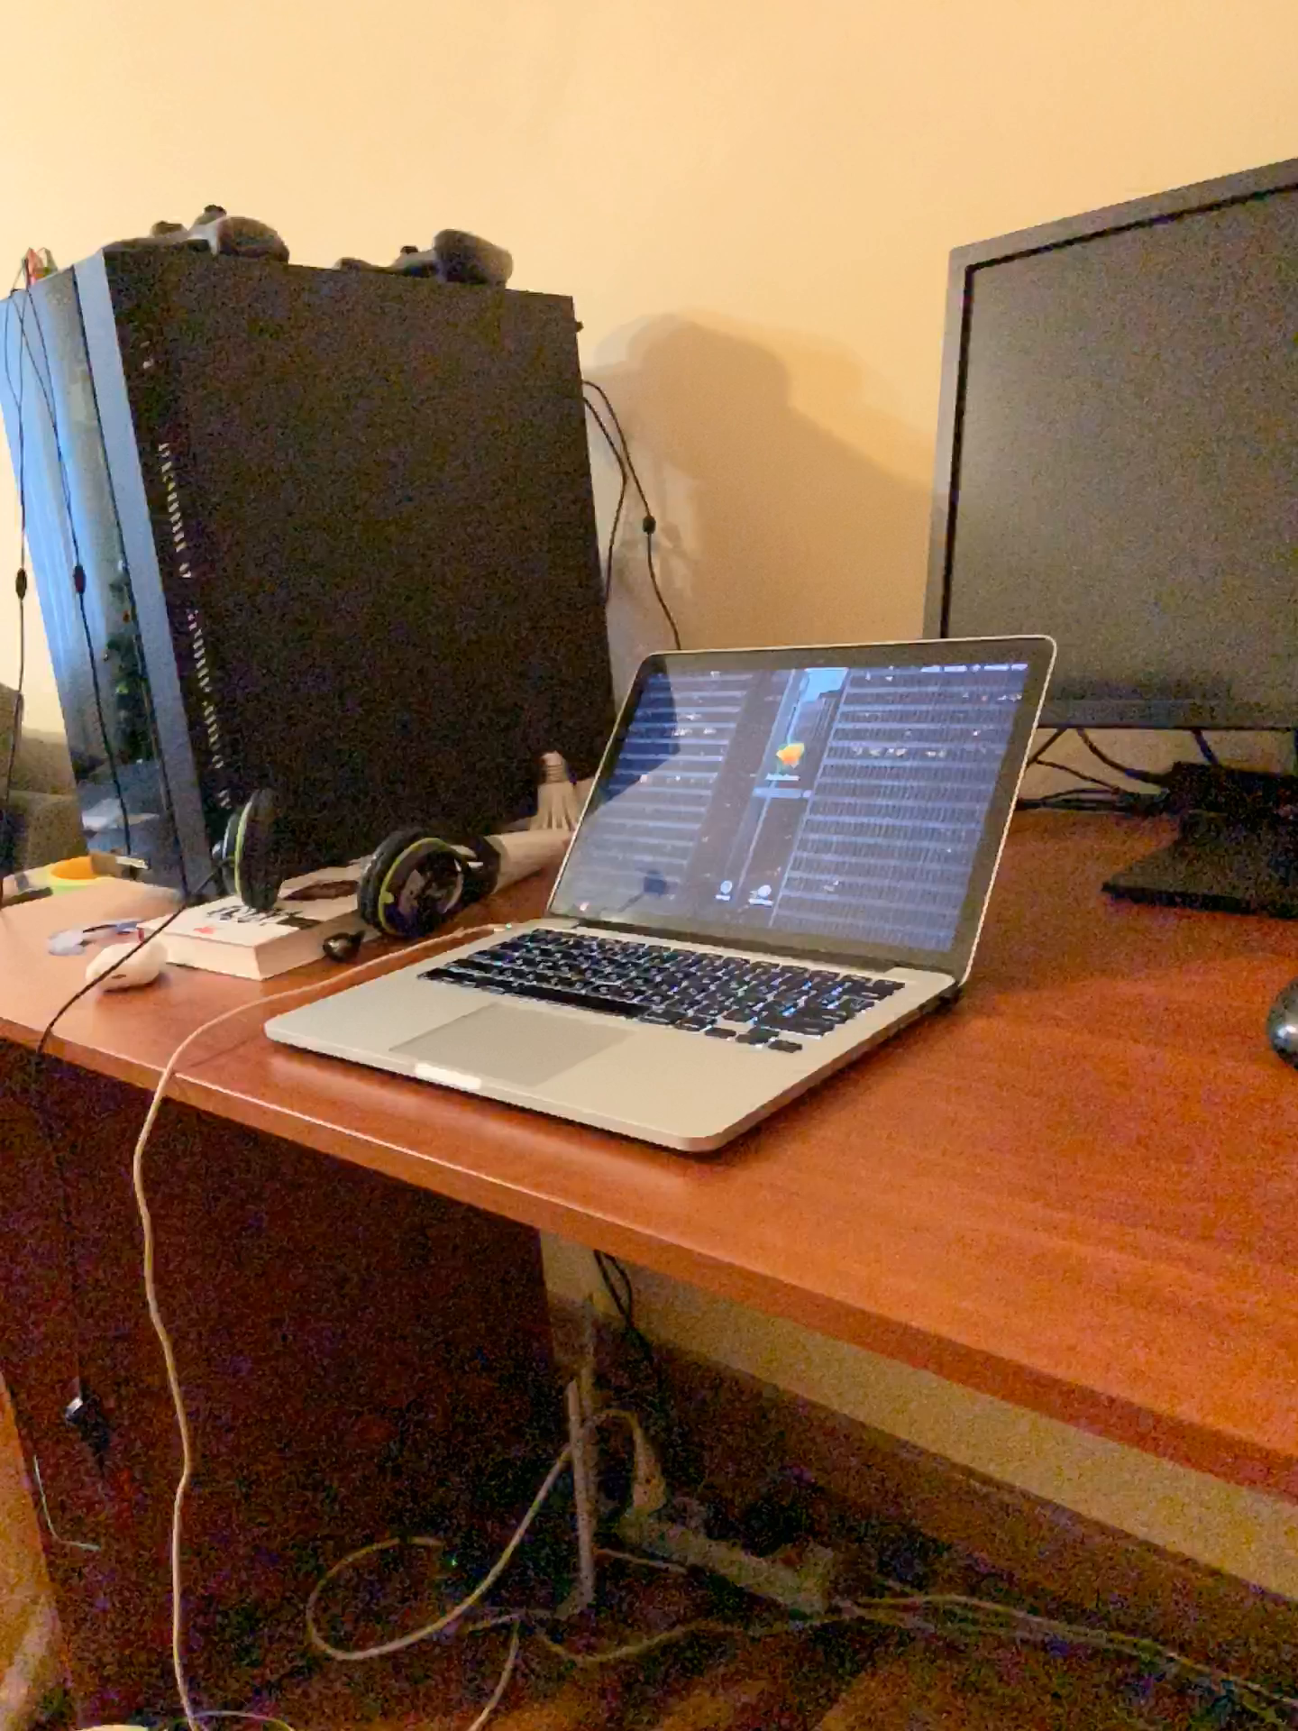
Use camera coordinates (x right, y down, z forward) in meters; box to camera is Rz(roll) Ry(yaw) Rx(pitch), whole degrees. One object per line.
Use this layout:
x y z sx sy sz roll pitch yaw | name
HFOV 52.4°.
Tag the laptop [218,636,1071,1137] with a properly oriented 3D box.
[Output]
0.012 -0.021 0.726 0.300 0.155 0.341 5 18 40 | laptop
